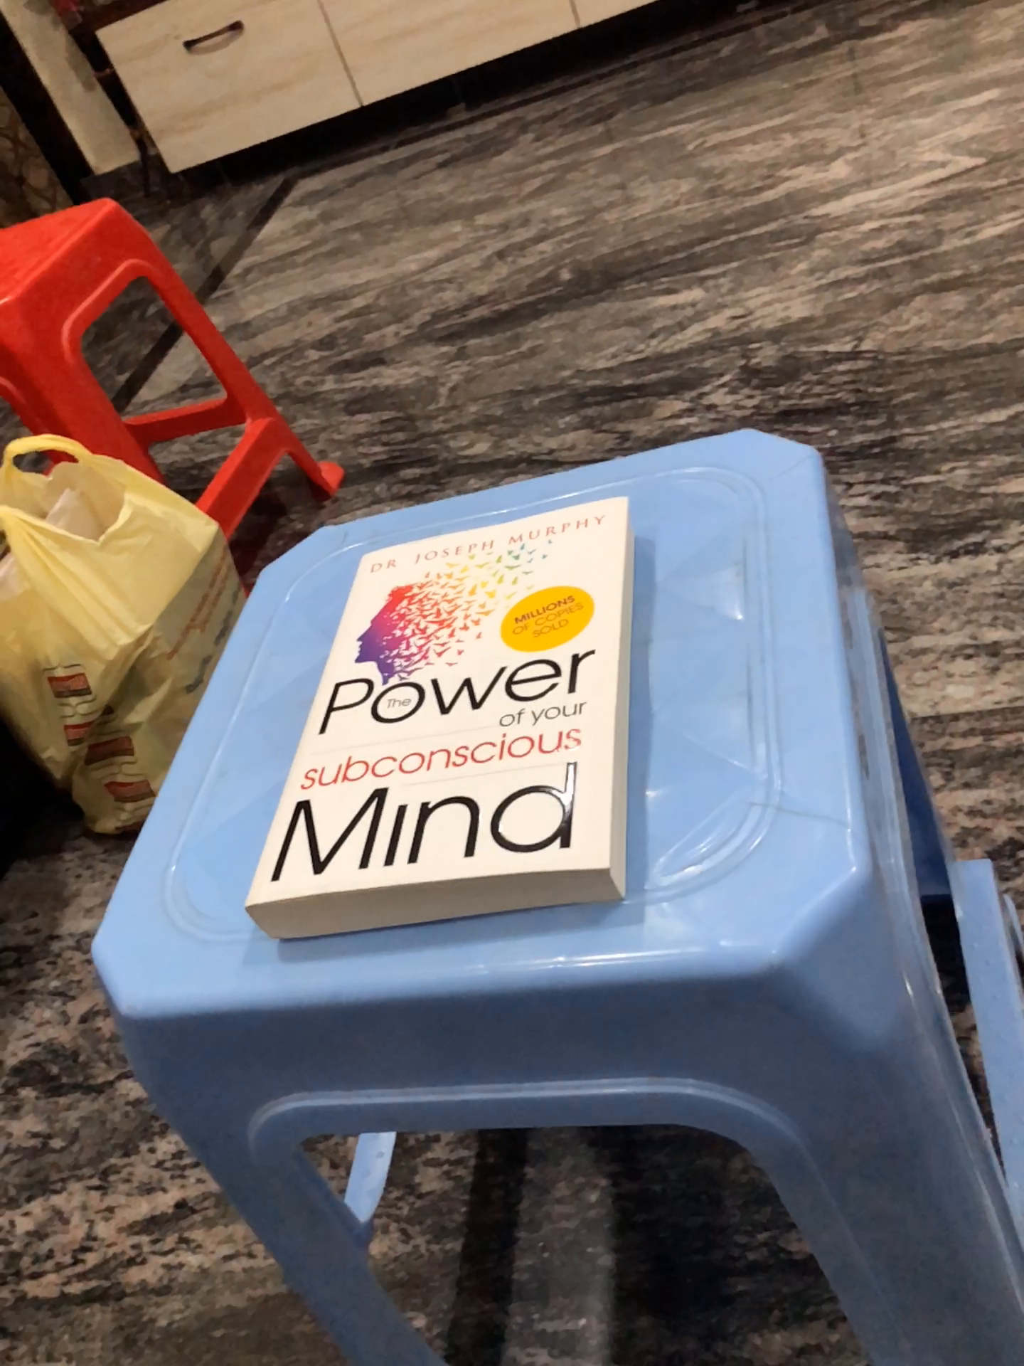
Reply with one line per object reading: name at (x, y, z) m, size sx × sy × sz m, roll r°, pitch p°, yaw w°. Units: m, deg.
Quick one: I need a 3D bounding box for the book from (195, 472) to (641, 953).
book at (-0.024, 0.002, 0.434) m, size 0.140 × 0.030 × 0.201 m, roll -11°, pitch 40°, yaw 17°
